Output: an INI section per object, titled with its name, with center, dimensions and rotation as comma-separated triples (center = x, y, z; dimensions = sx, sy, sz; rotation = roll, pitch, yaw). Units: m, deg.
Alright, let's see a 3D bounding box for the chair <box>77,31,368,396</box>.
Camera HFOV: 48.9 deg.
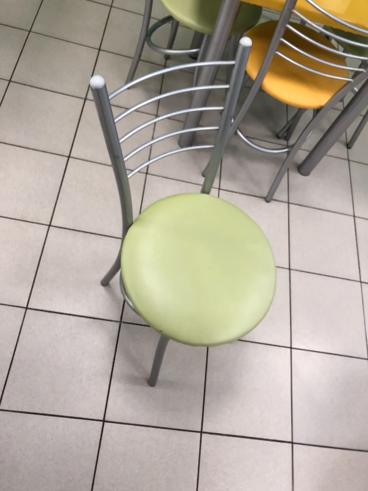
[chair]
center = 0.017, 0.024, 1.014
dimensions = 0.375, 0.827, 0.480
rotation = -24, 73, -22
